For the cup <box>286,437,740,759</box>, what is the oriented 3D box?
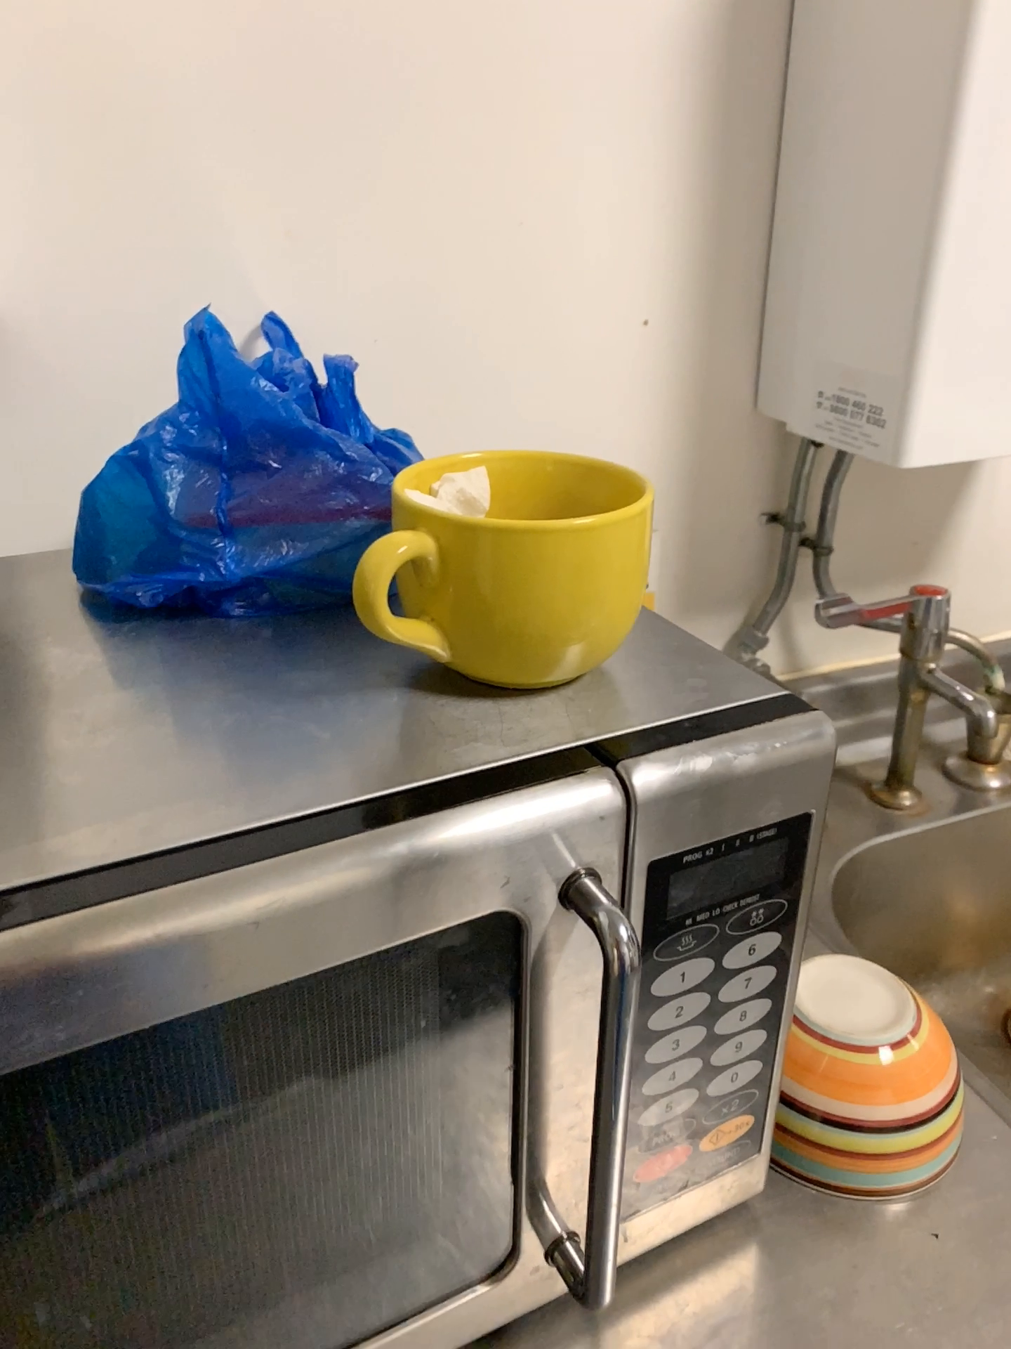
[{"bbox_3d":[0.000,-0.043,0.453,0.154,0.082,0.116,-13,28,-26],"label":"cup"}]
